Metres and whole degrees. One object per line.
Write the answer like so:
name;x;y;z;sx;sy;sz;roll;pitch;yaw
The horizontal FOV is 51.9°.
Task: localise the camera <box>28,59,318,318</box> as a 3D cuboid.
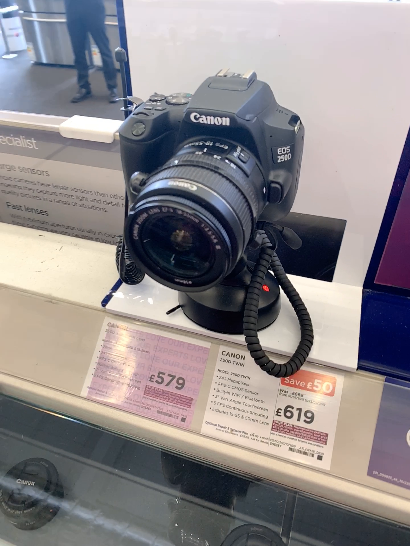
camera;-0.004;-0.064;0.263;0.120;0.089;0.141;11;41;13
